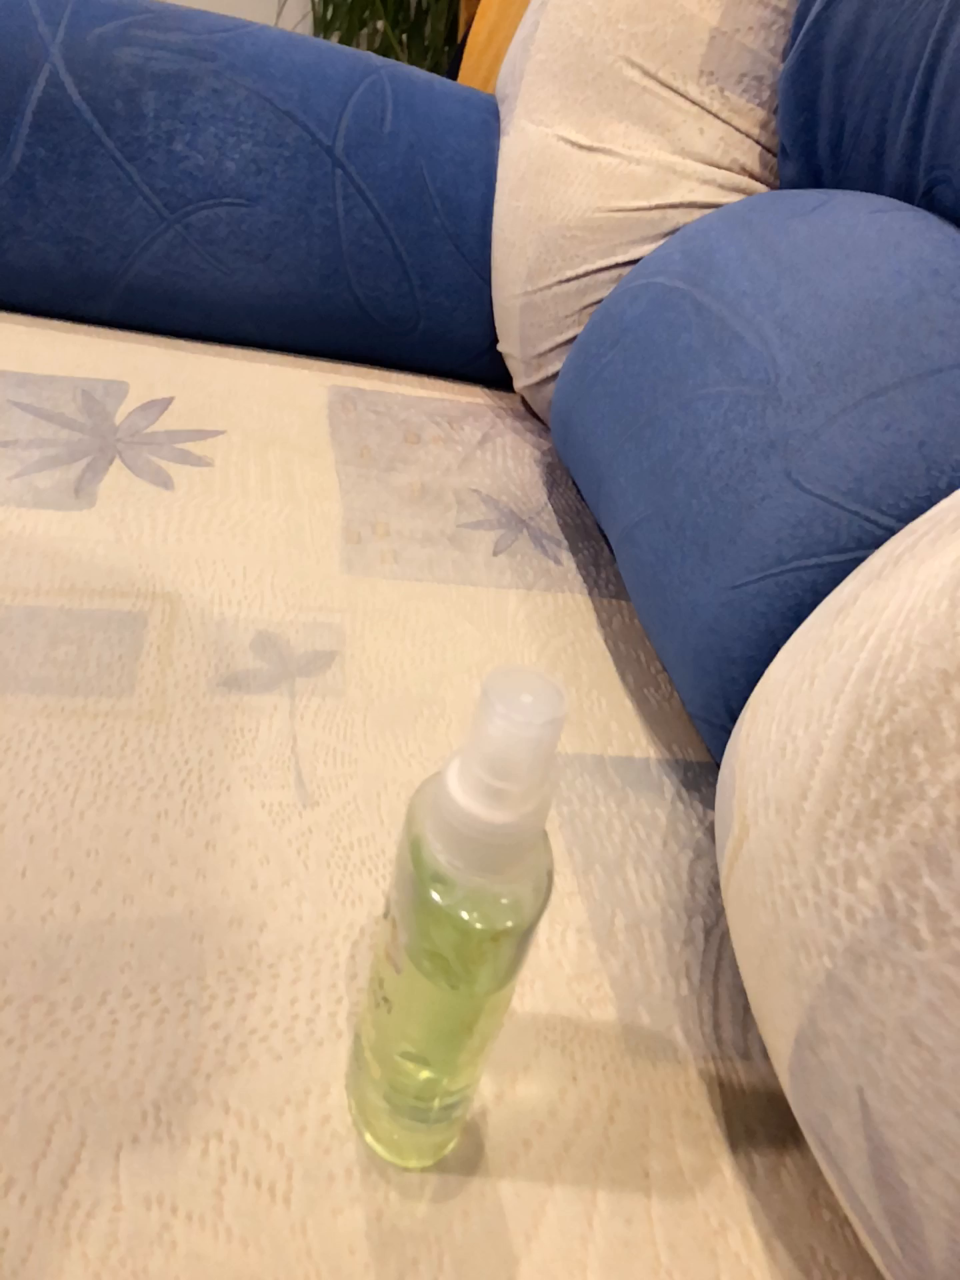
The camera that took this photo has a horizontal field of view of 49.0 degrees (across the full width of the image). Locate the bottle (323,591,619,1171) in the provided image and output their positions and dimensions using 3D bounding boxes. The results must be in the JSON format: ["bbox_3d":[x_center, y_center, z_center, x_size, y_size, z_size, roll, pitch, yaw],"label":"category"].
[{"bbox_3d":[-0.011,0.067,0.269,0.037,0.149,0.058,5,35,-15],"label":"bottle"}]
